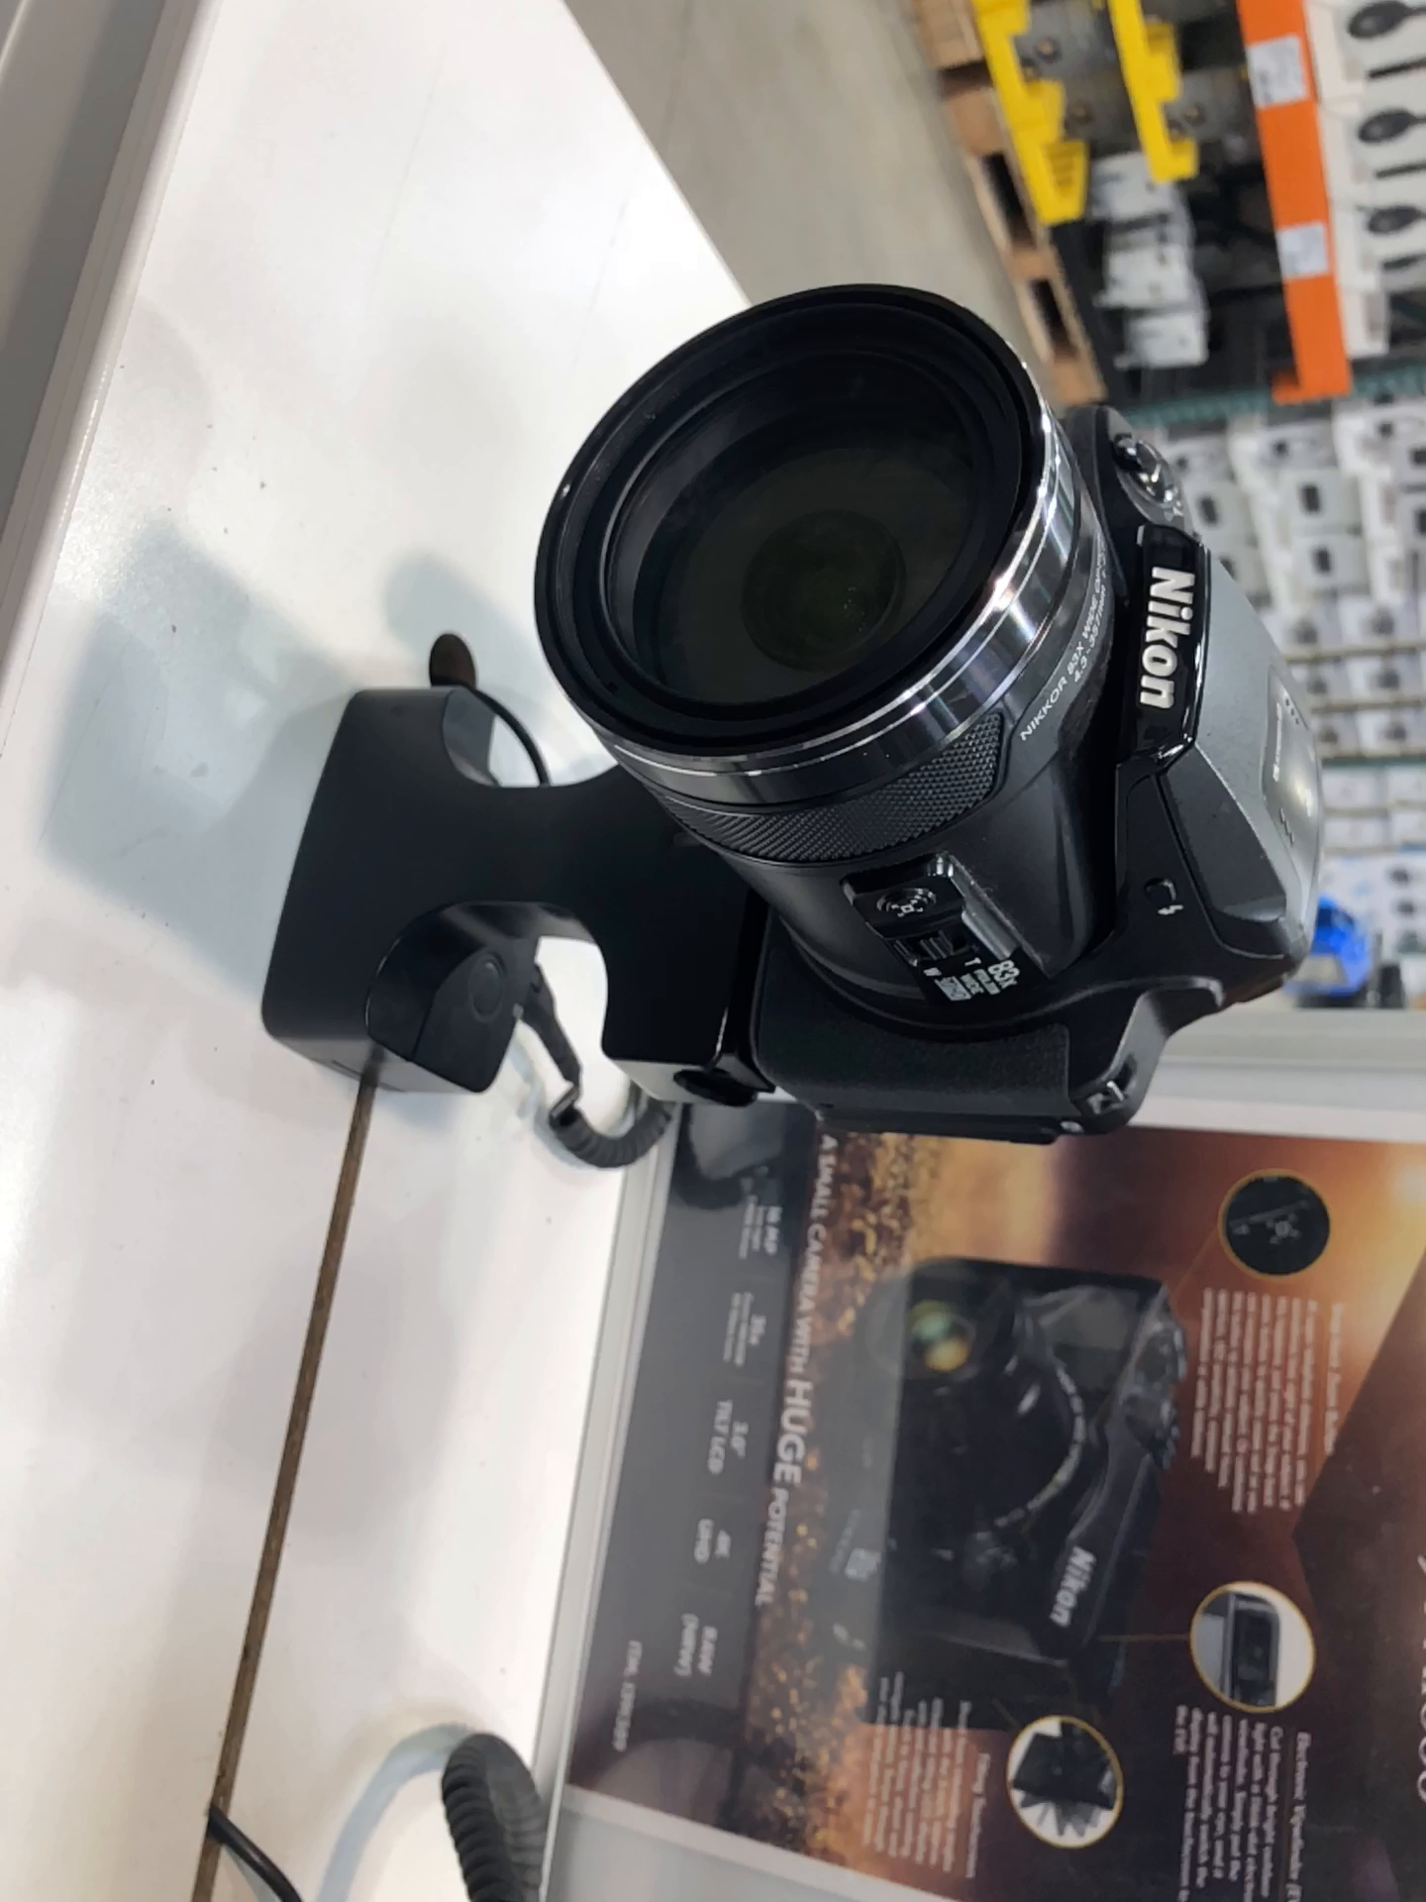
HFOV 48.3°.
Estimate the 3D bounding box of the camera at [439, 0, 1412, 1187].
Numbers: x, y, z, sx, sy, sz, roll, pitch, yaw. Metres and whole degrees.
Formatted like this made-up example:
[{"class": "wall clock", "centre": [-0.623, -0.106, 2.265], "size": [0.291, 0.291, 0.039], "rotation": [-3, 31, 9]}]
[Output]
[{"class": "camera", "centre": [0.056, -0.050, 0.274], "size": [0.151, 0.109, 0.140], "rotation": [42, 54, -57]}]
